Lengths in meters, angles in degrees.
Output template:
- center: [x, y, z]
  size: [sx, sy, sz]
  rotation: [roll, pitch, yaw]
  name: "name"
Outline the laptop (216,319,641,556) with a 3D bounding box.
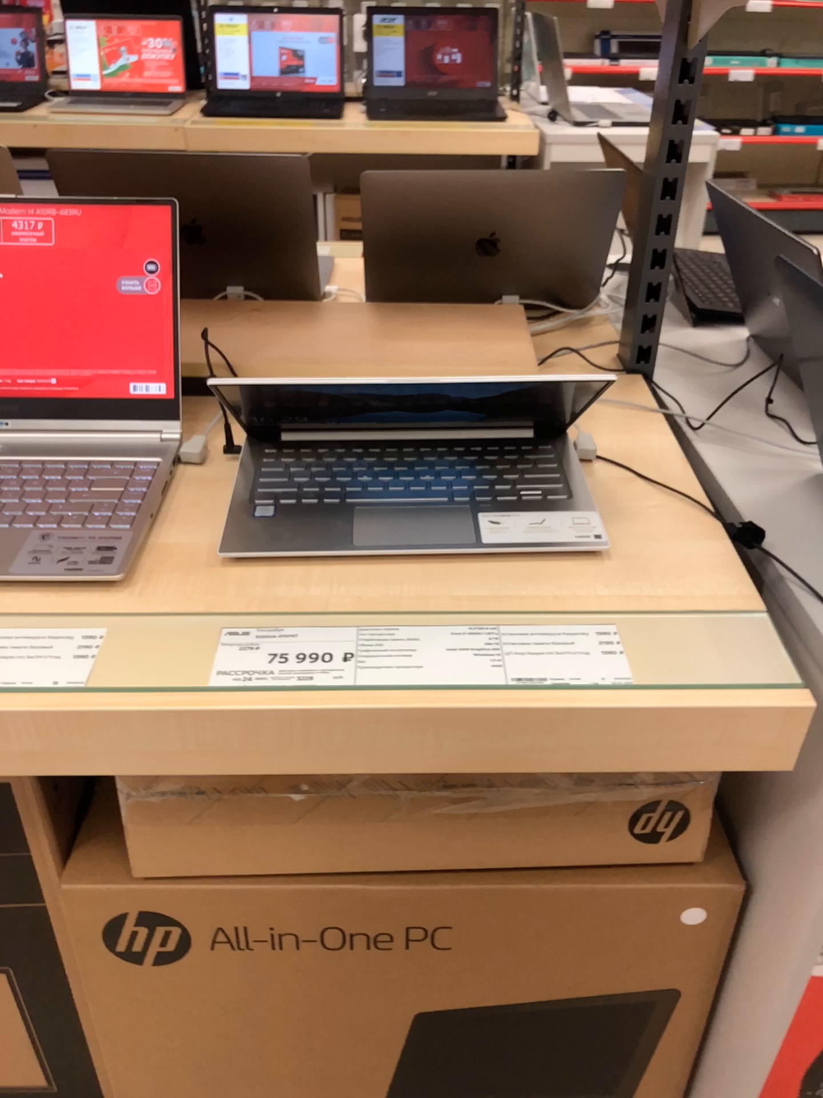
- center: [0.008, -0.102, 0.773]
  size: [0.309, 0.119, 0.198]
  rotation: [-1, 32, -1]
  name: "laptop"
